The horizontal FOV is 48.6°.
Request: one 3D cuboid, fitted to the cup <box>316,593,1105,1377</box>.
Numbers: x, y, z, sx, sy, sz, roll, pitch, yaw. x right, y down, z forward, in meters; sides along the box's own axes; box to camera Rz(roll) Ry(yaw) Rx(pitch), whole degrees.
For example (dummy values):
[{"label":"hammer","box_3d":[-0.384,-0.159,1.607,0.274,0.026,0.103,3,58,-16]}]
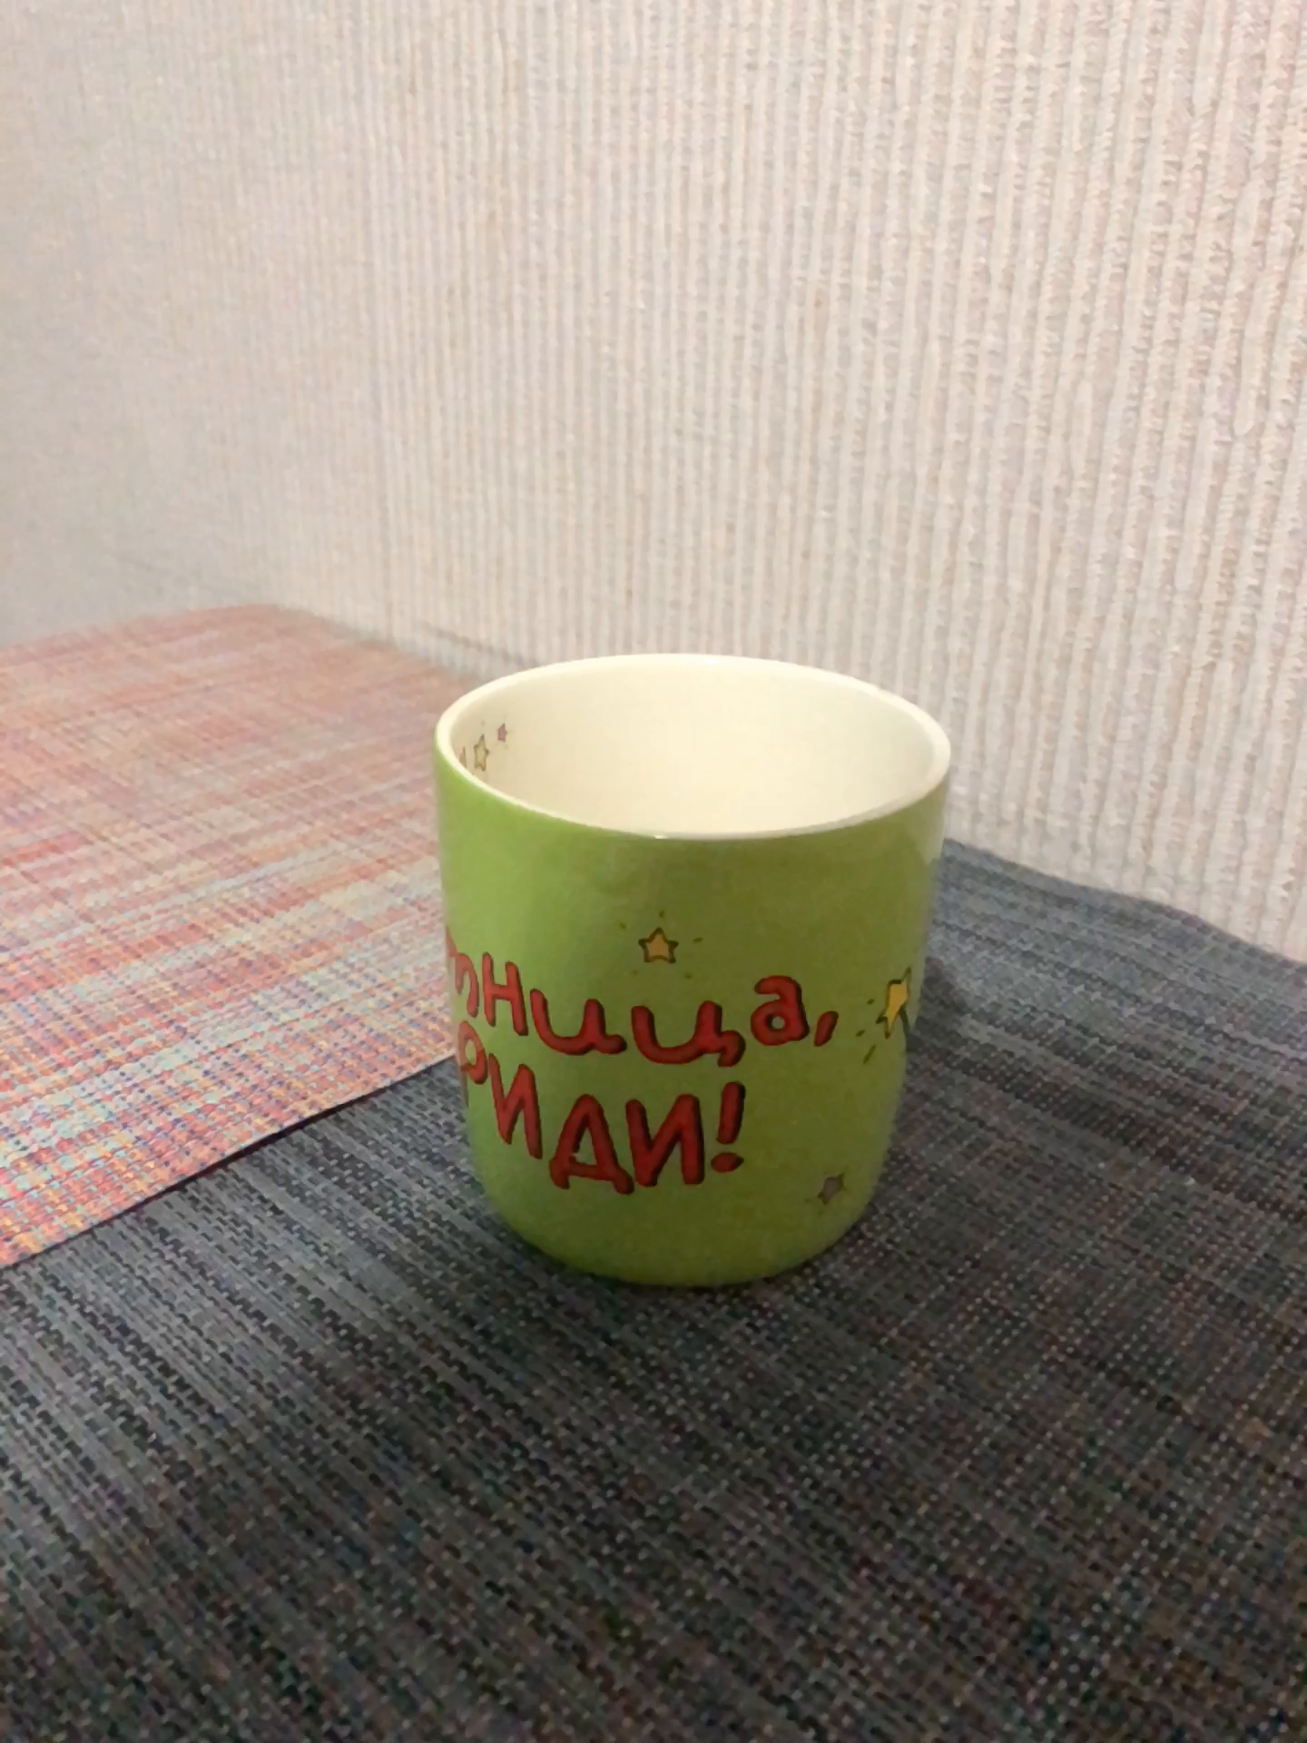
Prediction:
[{"label":"cup","box_3d":[0.002,0.008,0.267,0.089,0.084,0.115,-12,28,-27]}]
